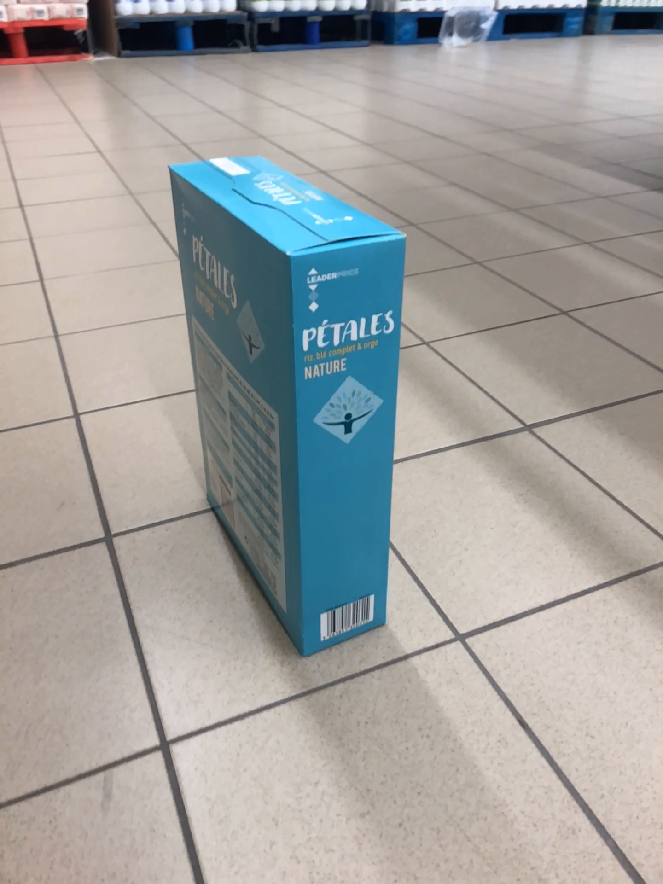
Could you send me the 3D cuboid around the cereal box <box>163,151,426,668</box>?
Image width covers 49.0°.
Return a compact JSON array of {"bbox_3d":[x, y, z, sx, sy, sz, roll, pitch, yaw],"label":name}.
[{"bbox_3d":[-0.032,-0.028,0.478,0.070,0.268,0.201,-15,35,-23],"label":"cereal box"}]
